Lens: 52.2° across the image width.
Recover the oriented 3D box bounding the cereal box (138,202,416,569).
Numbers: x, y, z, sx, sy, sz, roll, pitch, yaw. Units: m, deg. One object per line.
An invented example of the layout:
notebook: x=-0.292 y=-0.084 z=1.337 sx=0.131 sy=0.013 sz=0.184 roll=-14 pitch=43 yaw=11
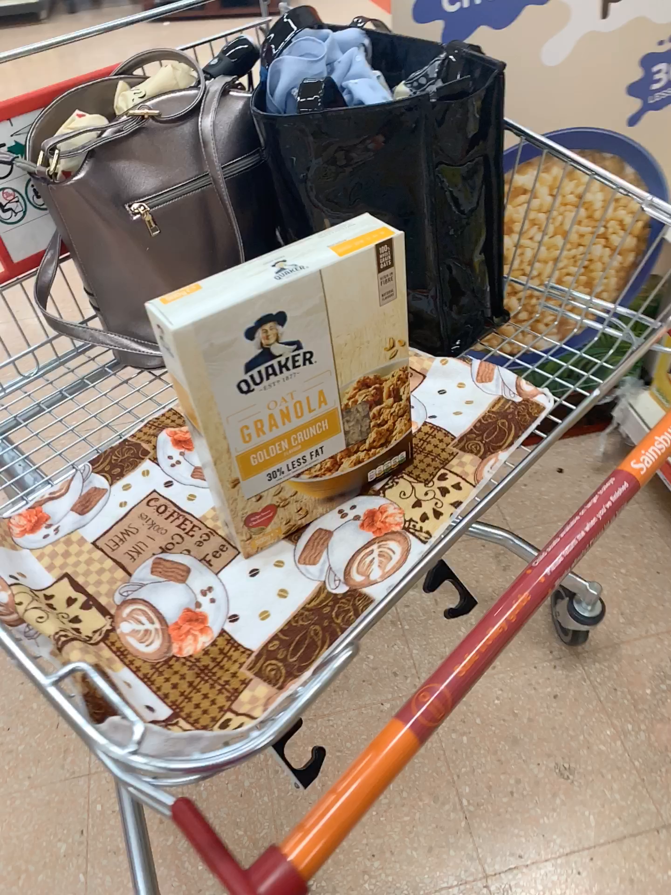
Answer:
cereal box: x=-0.028 y=-0.043 z=0.581 sx=0.201 sy=0.258 sz=0.050 roll=-29 pitch=46 yaw=-22
